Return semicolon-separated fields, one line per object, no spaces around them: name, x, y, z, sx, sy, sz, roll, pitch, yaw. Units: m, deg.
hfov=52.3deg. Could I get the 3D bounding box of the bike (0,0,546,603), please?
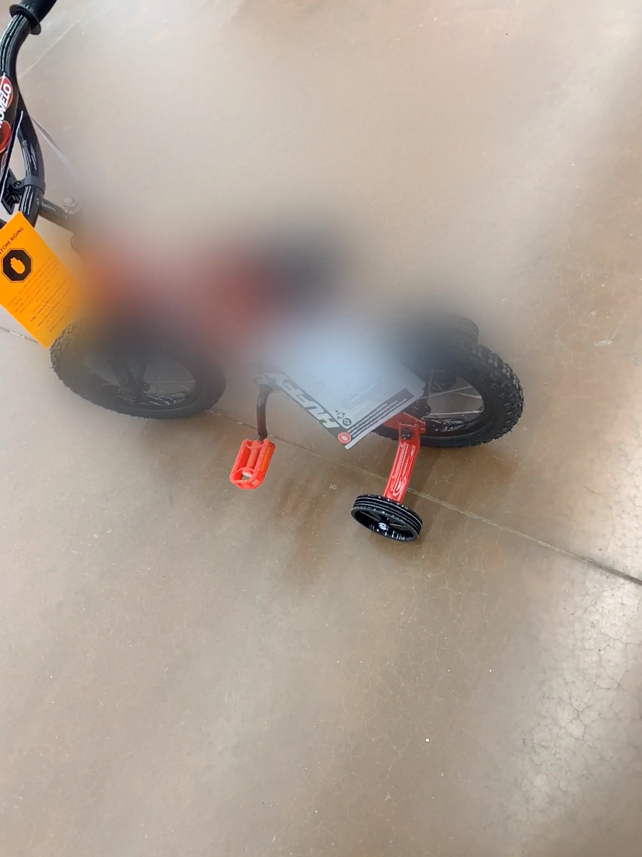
bike;-0.155;-0.165;0.782;0.737;0.605;0.440;6;61;20
